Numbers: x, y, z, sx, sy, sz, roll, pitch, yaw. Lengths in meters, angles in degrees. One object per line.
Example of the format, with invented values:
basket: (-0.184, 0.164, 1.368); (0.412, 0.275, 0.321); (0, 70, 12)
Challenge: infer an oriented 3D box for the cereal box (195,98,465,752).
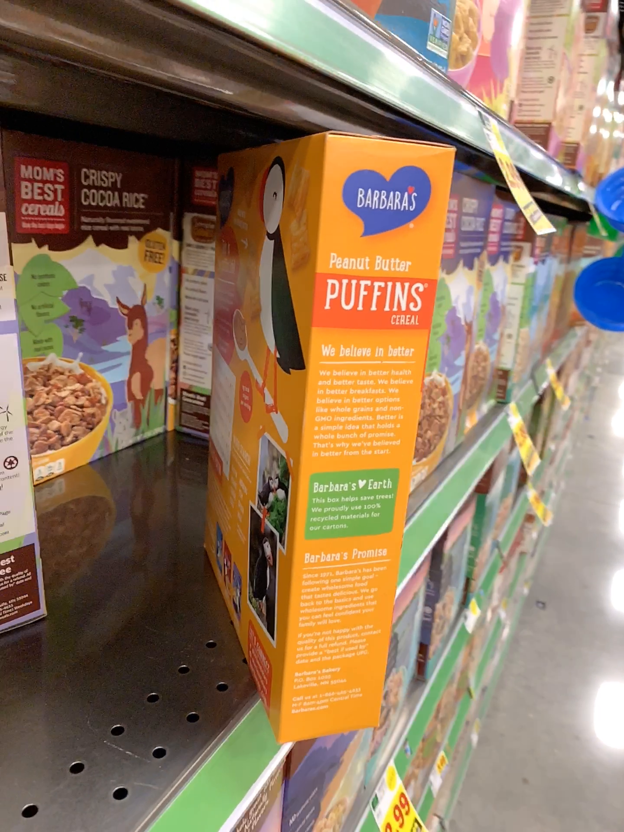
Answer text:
cereal box: (-0.017, -0.011, 0.370); (0.060, 0.279, 0.221); (-3, 18, -20)
